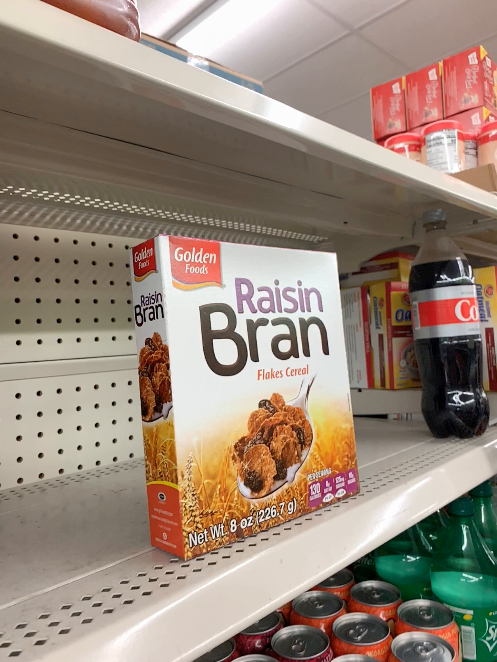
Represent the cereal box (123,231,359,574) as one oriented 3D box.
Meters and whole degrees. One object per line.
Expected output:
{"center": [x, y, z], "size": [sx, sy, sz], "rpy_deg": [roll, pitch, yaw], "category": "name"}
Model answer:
{"center": [0.002, 0.045, 0.427], "size": [0.190, 0.230, 0.050], "rpy_deg": [-2, -4, -41], "category": "cereal box"}
